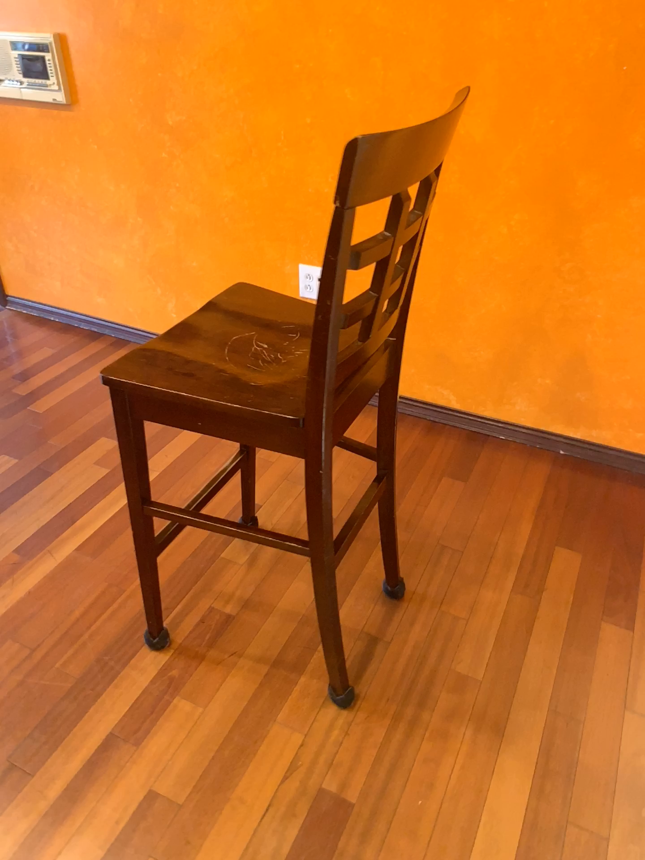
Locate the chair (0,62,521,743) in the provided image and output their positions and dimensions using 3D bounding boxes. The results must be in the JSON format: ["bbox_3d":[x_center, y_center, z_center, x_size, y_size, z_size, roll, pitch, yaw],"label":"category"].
[{"bbox_3d":[-0.089,-0.066,1.202,0.592,0.987,0.534,16,37,21],"label":"chair"}]
